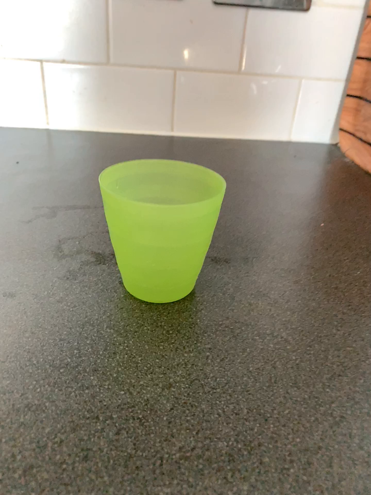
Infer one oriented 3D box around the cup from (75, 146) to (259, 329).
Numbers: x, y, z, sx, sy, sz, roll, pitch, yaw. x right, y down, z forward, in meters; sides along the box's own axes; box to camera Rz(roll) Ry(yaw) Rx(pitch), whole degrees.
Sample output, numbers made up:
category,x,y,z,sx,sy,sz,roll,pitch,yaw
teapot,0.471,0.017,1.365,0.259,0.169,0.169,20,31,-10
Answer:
category,x,y,z,sx,sy,sz,roll,pitch,yaw
cup,-0.016,-0.014,0.267,0.090,0.080,0.078,-18,39,-35
